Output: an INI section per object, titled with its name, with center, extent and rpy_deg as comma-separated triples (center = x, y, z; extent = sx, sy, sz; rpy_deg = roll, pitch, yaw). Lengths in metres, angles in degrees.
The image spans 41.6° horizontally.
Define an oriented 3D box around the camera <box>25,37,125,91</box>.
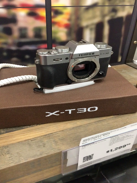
[camera]
center = 0.009, -0.052, 0.311
extent = 0.138, 0.057, 0.069
rpy_deg = -12, 37, -20
